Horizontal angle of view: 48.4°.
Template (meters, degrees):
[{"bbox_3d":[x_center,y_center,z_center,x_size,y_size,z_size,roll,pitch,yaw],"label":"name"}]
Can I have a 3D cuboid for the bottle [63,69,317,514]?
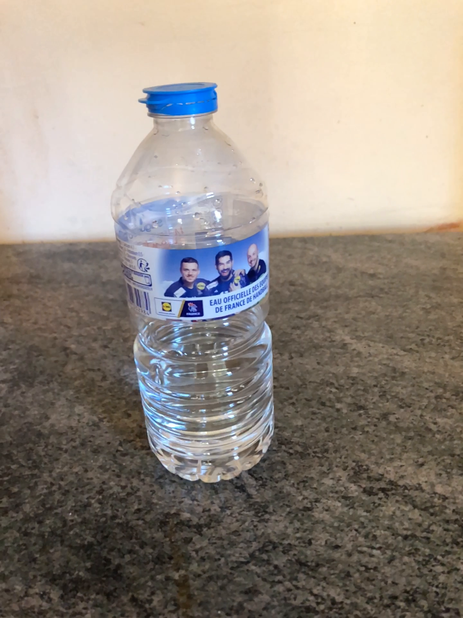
[{"bbox_3d":[-0.012,-0.008,0.227,0.070,0.169,0.070,-4,29,2],"label":"bottle"}]
